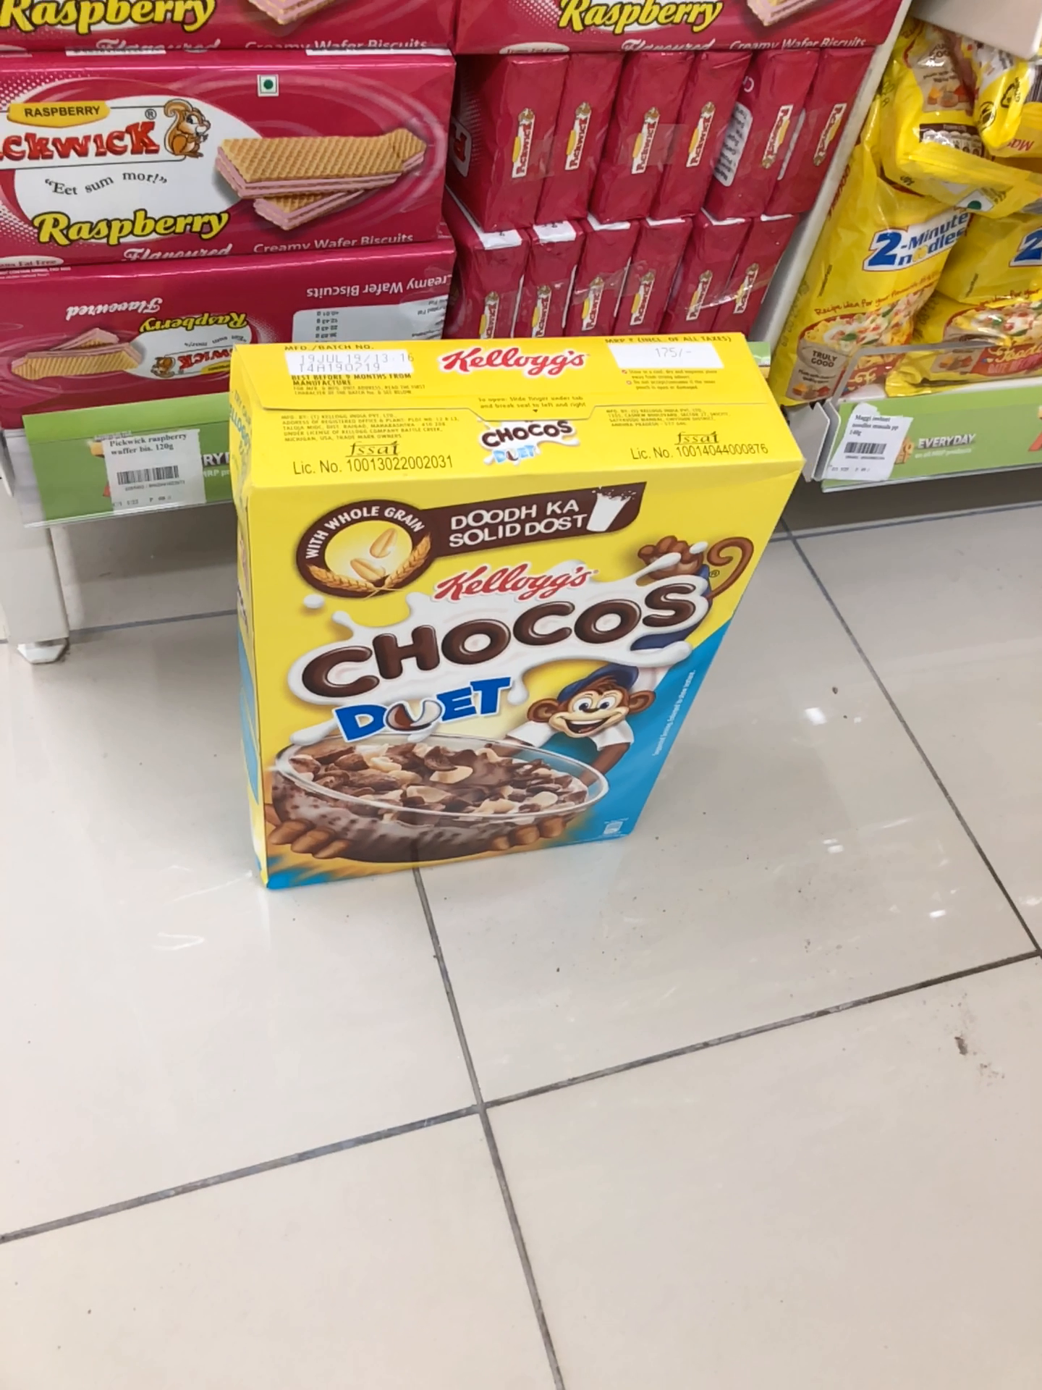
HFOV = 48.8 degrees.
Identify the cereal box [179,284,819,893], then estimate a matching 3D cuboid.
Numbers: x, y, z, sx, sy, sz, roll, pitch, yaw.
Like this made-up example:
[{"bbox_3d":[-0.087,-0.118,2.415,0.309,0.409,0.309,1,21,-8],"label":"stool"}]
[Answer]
[{"bbox_3d":[-0.023,-0.027,0.459,0.190,0.258,0.070,-7,54,-15],"label":"cereal box"}]
